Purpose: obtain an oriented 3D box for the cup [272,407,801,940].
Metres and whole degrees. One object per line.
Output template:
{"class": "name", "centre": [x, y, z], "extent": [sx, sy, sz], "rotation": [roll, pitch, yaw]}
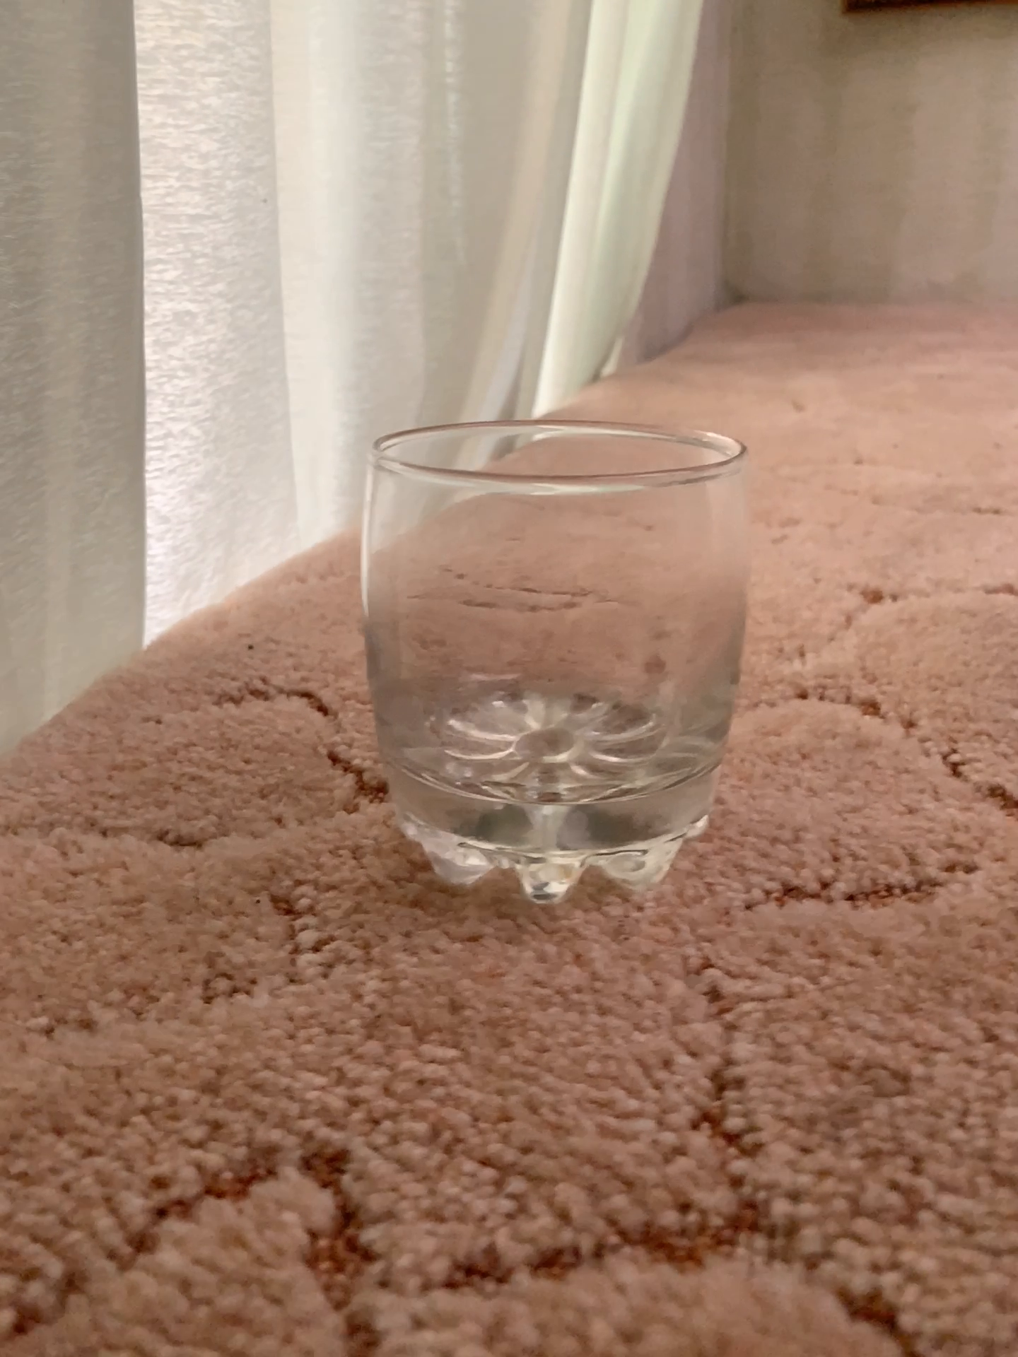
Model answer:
{"class": "cup", "centre": [0.006, -0.006, 0.234], "extent": [0.090, 0.089, 0.081], "rotation": [-2, 24, 0]}
